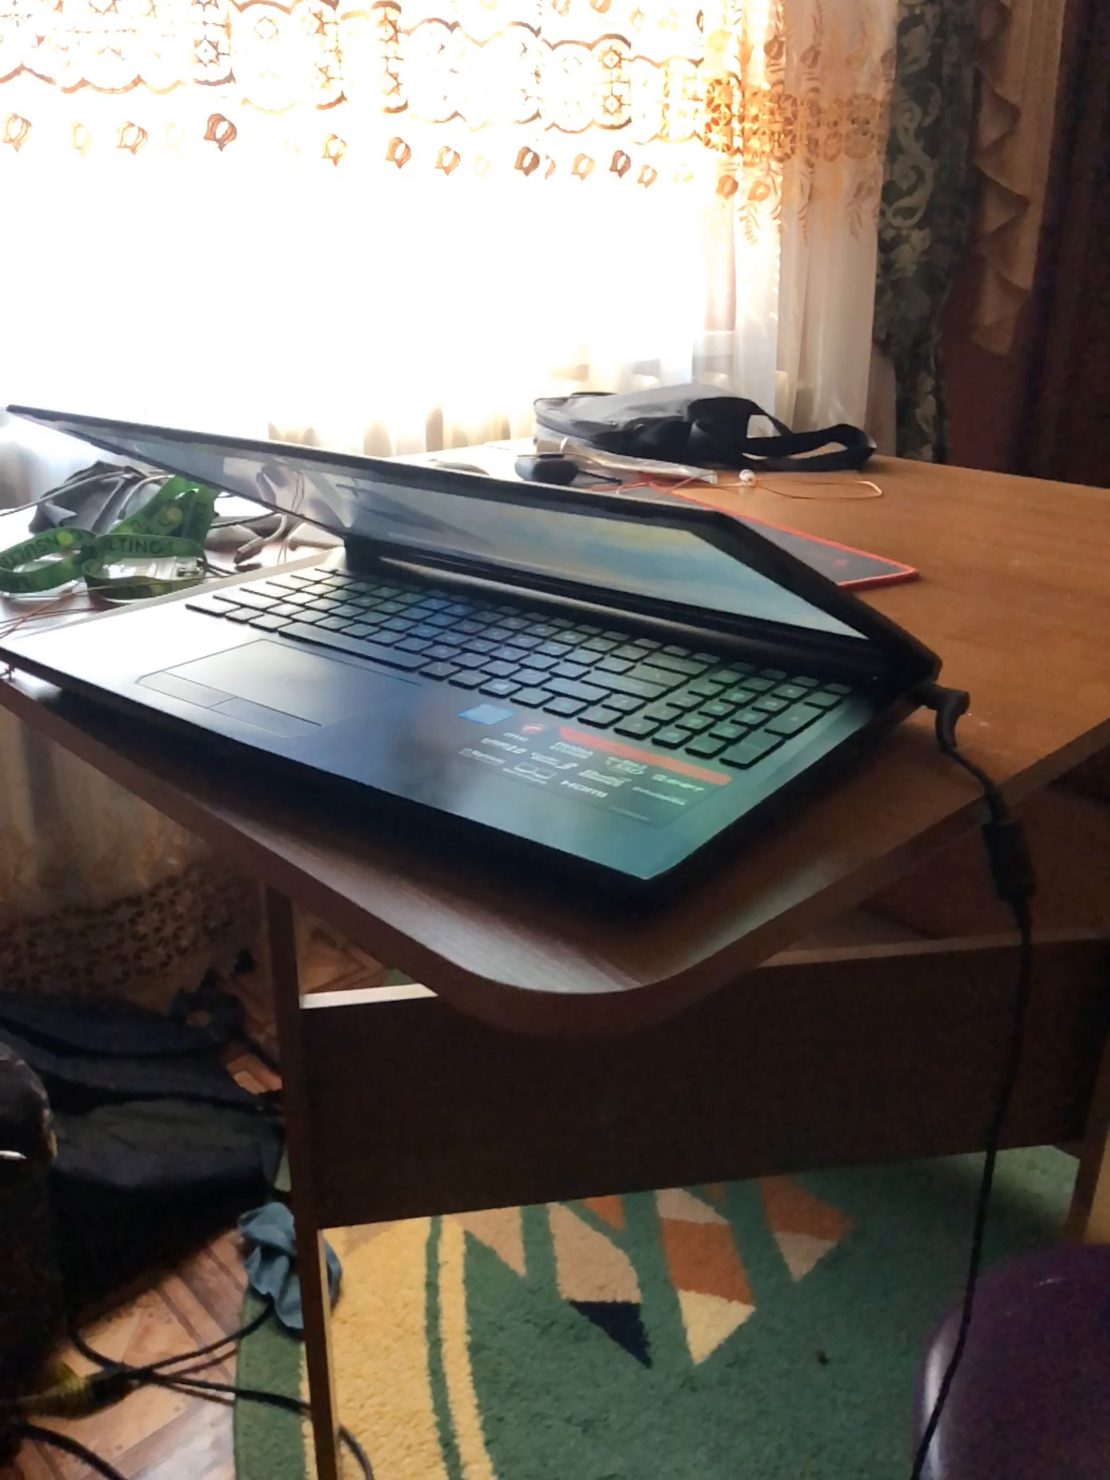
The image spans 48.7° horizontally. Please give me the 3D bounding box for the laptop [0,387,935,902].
[{"bbox_3d":[-0.057,-0.081,0.540,0.372,0.095,0.239,16,28,35],"label":"laptop"}]
